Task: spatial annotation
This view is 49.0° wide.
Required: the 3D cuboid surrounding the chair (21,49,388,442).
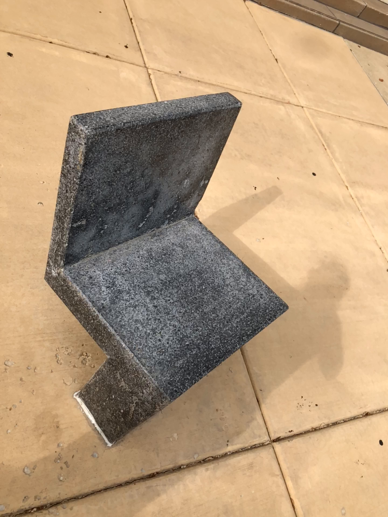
[{"bbox_3d":[-0.028,-0.036,1.193,0.572,0.798,0.559,-24,64,-43],"label":"chair"}]
